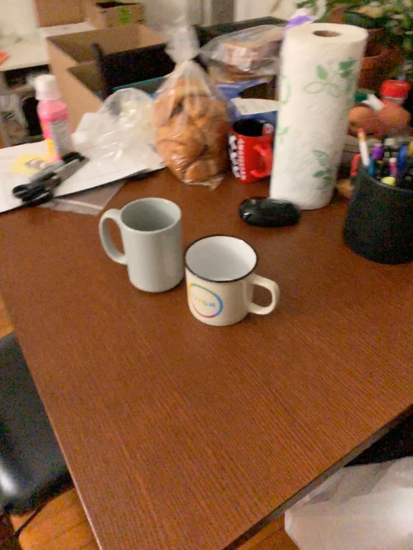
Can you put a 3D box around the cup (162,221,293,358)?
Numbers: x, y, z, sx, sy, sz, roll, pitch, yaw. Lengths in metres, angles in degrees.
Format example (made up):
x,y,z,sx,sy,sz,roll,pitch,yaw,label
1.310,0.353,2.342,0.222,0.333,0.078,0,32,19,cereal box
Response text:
x,y,z,sx,sy,sz,roll,pitch,yaw,label
0.026,0.015,0.562,0.130,0.099,0.100,30,50,29,cup

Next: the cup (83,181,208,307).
x,y,z,sx,sy,sz,roll,pitch,yaw,label
-0.084,-0.049,0.607,0.140,0.099,0.100,29,50,29,cup
